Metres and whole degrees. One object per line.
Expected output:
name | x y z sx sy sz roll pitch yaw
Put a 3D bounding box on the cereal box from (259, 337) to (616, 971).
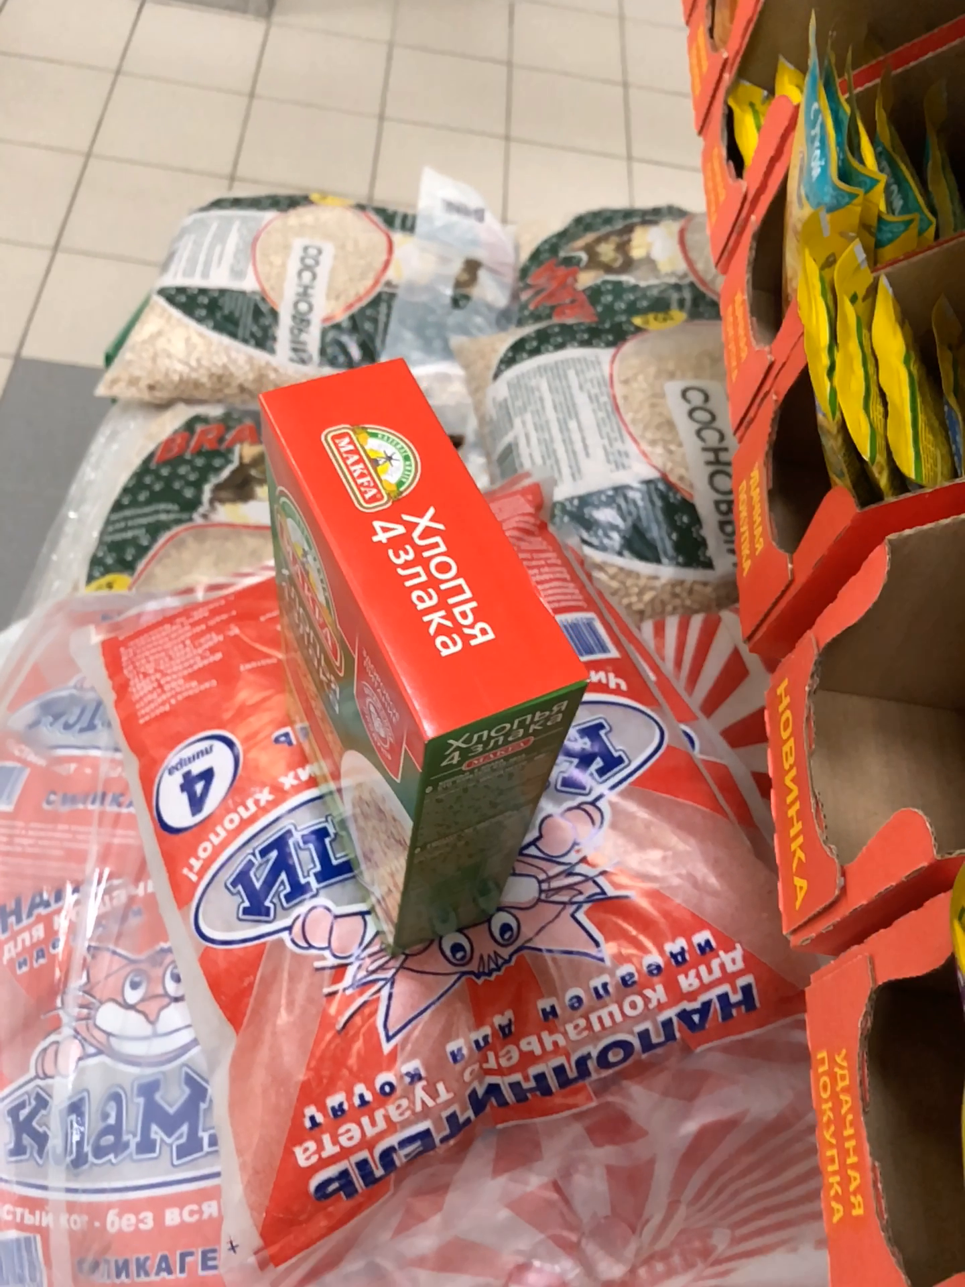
cereal box | -0.029 0.019 0.395 0.050 0.209 0.140 -19 63 -18
